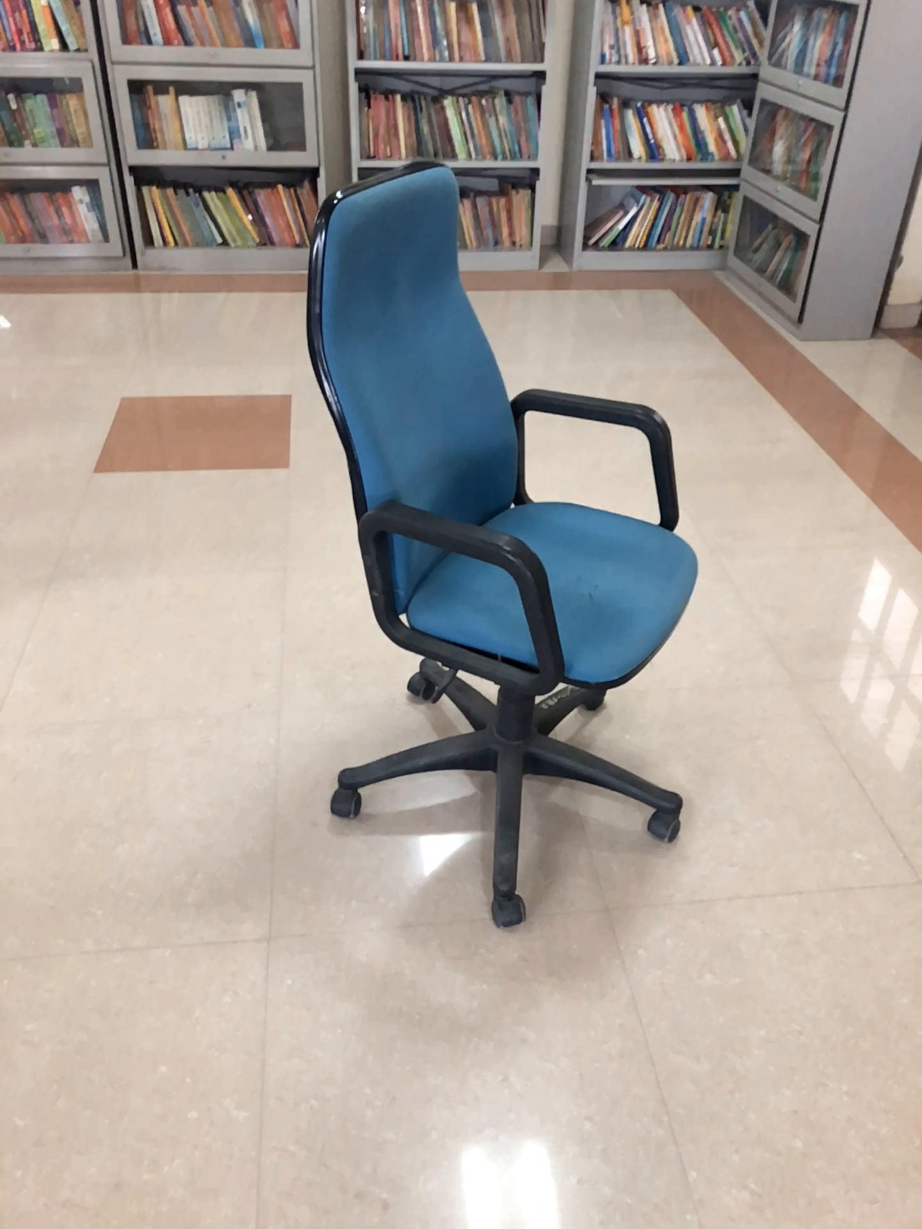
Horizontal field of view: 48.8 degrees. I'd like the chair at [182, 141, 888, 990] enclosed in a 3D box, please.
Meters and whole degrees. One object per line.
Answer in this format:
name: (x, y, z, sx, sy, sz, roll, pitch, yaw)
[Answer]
chair: (0.135, -0.132, 1.747, 0.761, 1.076, 0.742, 18, 37, 22)
